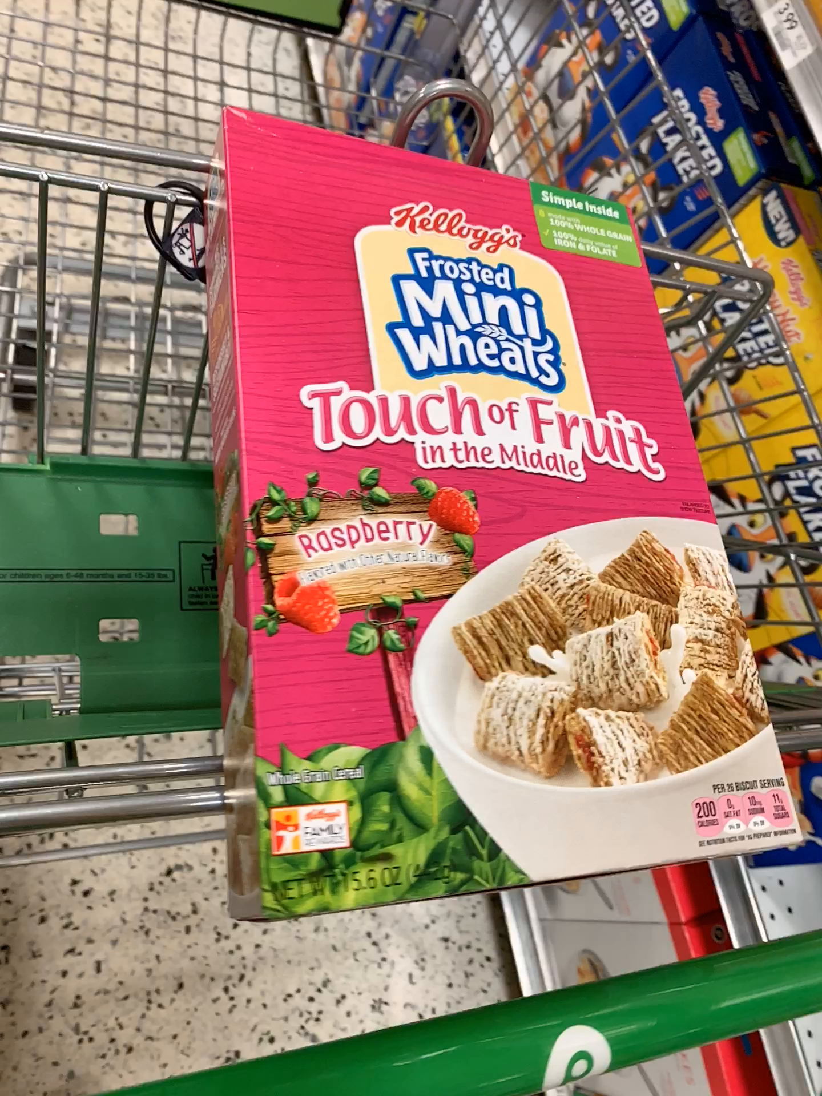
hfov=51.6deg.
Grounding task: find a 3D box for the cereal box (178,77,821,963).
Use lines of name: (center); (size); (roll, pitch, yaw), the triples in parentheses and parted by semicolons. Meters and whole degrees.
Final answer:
cereal box: (0.023, -0.023, 0.319); (0.201, 0.050, 0.291); (2, 67, -24)
